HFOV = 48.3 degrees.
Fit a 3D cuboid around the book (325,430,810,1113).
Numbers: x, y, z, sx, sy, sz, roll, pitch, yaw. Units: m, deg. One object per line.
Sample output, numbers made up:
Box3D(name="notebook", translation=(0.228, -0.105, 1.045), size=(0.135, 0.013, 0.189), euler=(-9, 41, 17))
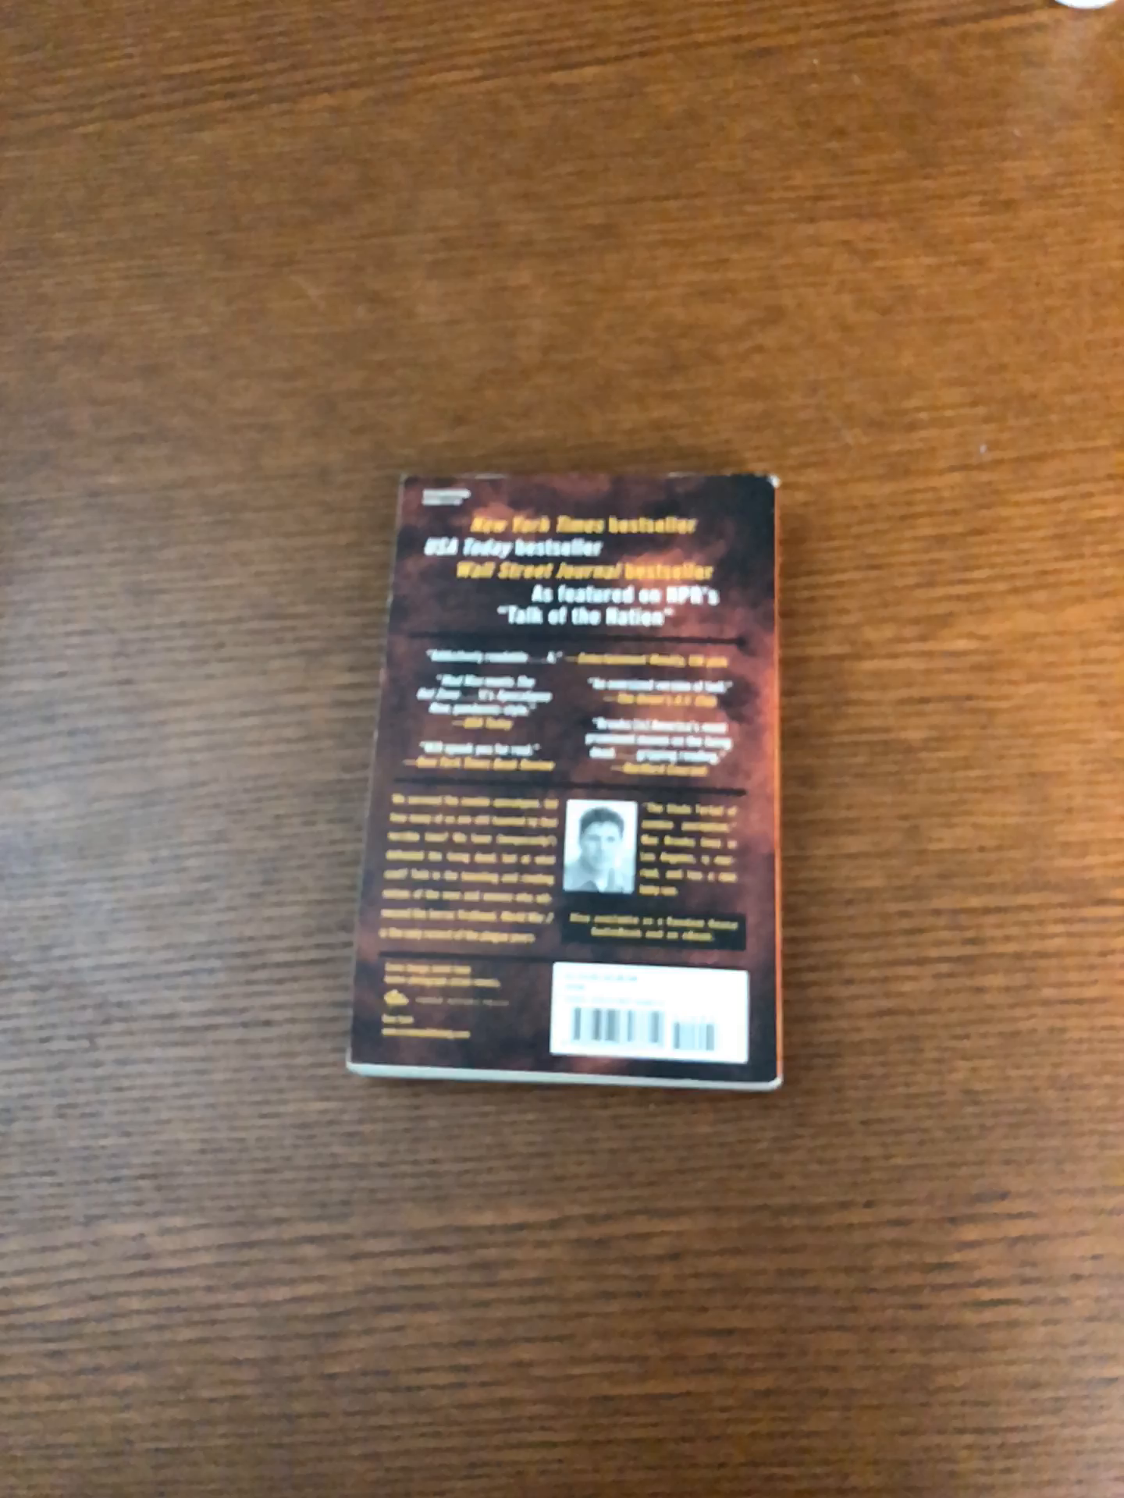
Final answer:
Box3D(name="book", translation=(0.008, 0.000, 0.413), size=(0.140, 0.030, 0.220), euler=(2, 72, 7))
